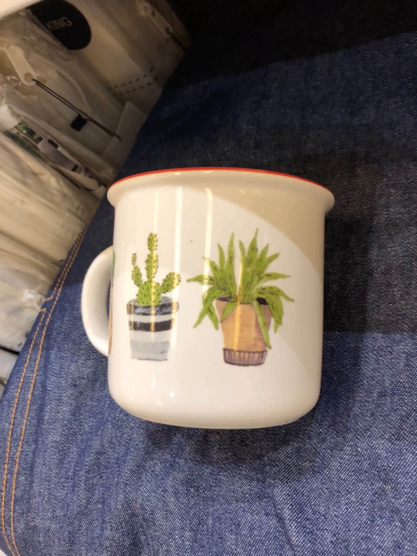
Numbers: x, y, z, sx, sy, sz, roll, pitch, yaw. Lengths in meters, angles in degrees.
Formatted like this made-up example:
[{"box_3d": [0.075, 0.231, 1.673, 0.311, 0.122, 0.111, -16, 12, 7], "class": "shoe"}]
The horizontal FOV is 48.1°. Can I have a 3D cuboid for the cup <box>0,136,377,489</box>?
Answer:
[{"box_3d": [-0.009, 0.015, 0.207, 0.140, 0.090, 0.100, -1, 80, 31], "class": "cup"}]
